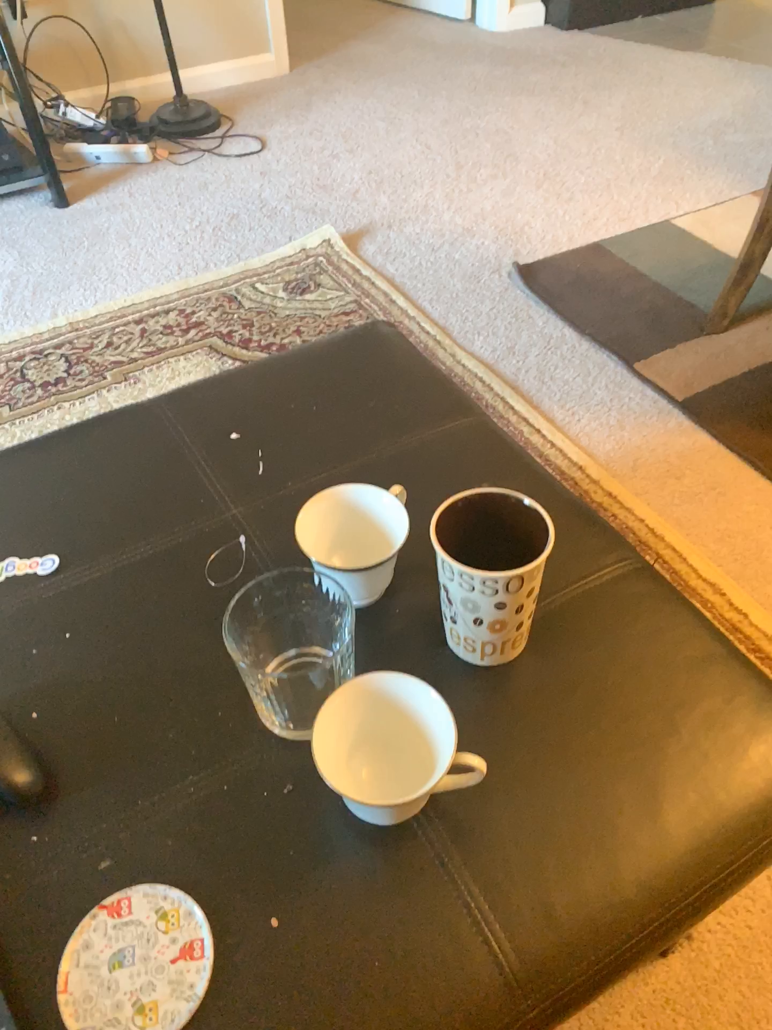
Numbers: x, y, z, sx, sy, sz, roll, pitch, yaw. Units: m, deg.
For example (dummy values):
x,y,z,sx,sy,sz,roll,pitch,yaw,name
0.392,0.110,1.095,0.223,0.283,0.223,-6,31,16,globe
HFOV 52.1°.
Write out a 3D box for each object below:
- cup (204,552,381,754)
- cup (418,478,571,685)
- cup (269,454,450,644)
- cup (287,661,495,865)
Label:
x,y,z,sx,sy,sz,roll,pitch,yaw,name
-0.062,0.102,0.586,0.100,0.099,0.101,-1,47,1,cup
0.079,0.050,0.592,0.100,0.109,0.101,-1,47,1,cup
-0.019,0.025,0.640,0.090,0.070,0.110,33,56,28,cup
0.008,0.161,0.520,0.120,0.060,0.101,4,47,6,cup
